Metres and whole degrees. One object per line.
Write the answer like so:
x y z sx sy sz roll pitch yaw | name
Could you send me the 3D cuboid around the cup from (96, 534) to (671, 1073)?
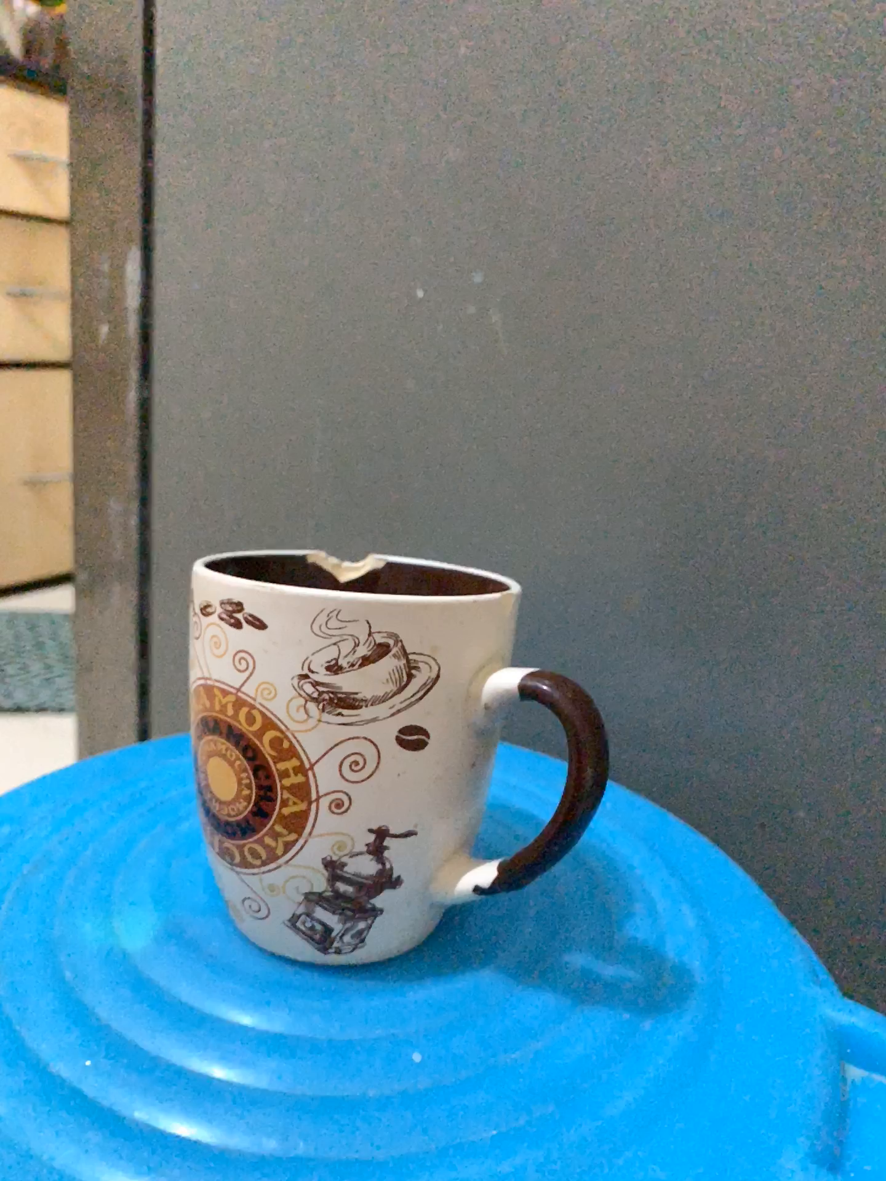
-0.013 0.036 0.220 0.109 0.083 0.070 9 10 25 | cup
